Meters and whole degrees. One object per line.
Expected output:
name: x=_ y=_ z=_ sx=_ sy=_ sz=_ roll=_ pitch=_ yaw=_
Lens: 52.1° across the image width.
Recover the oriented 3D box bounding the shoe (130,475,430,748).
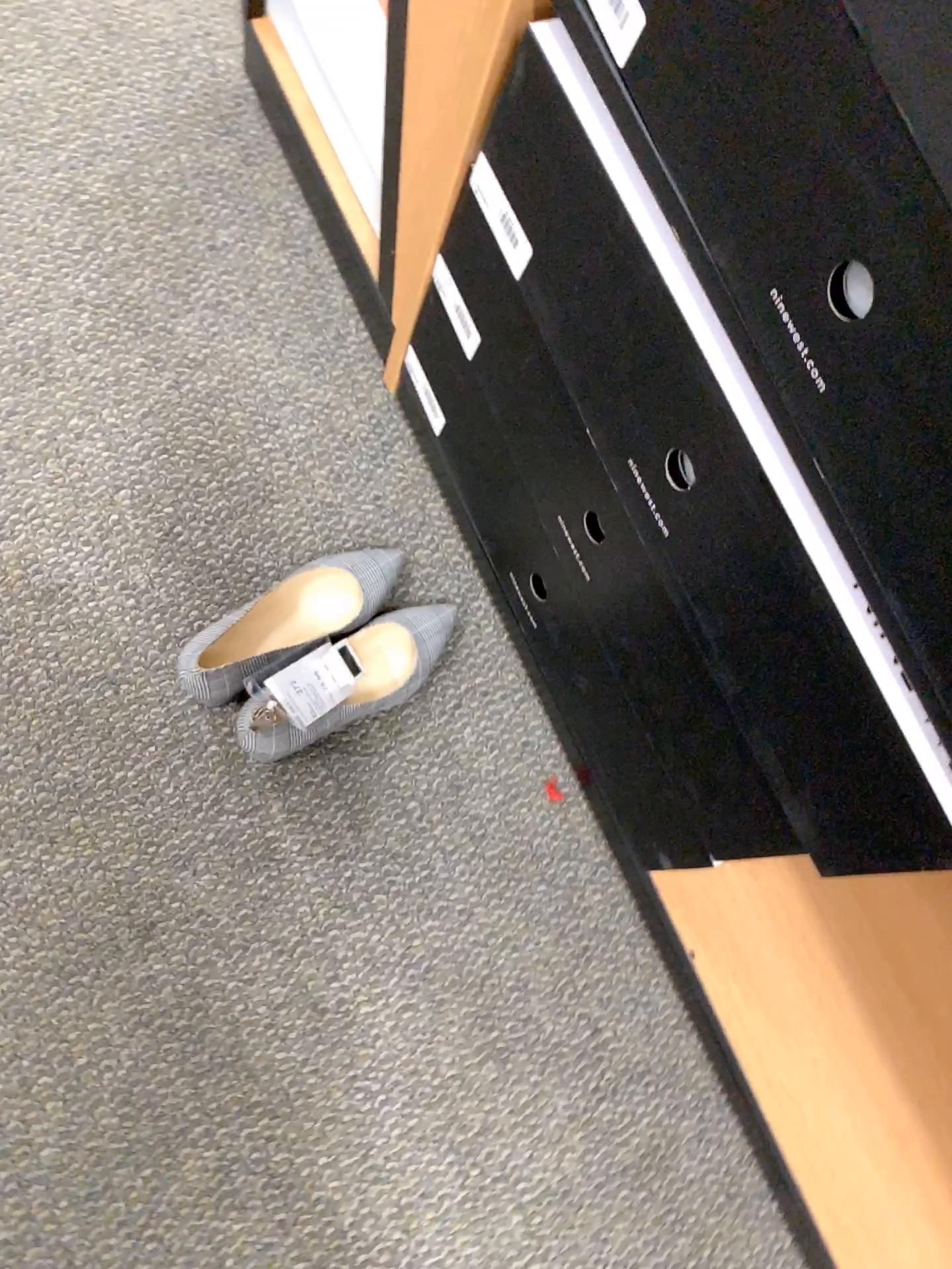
shoe: x=-0.170 y=-0.016 z=0.860 sx=0.230 sy=0.150 sz=0.090 roll=-38 pitch=87 yaw=-19

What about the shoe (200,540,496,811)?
shoe: x=-0.114 y=0.040 z=0.851 sx=0.230 sy=0.150 sz=0.090 roll=-38 pitch=87 yaw=-19
